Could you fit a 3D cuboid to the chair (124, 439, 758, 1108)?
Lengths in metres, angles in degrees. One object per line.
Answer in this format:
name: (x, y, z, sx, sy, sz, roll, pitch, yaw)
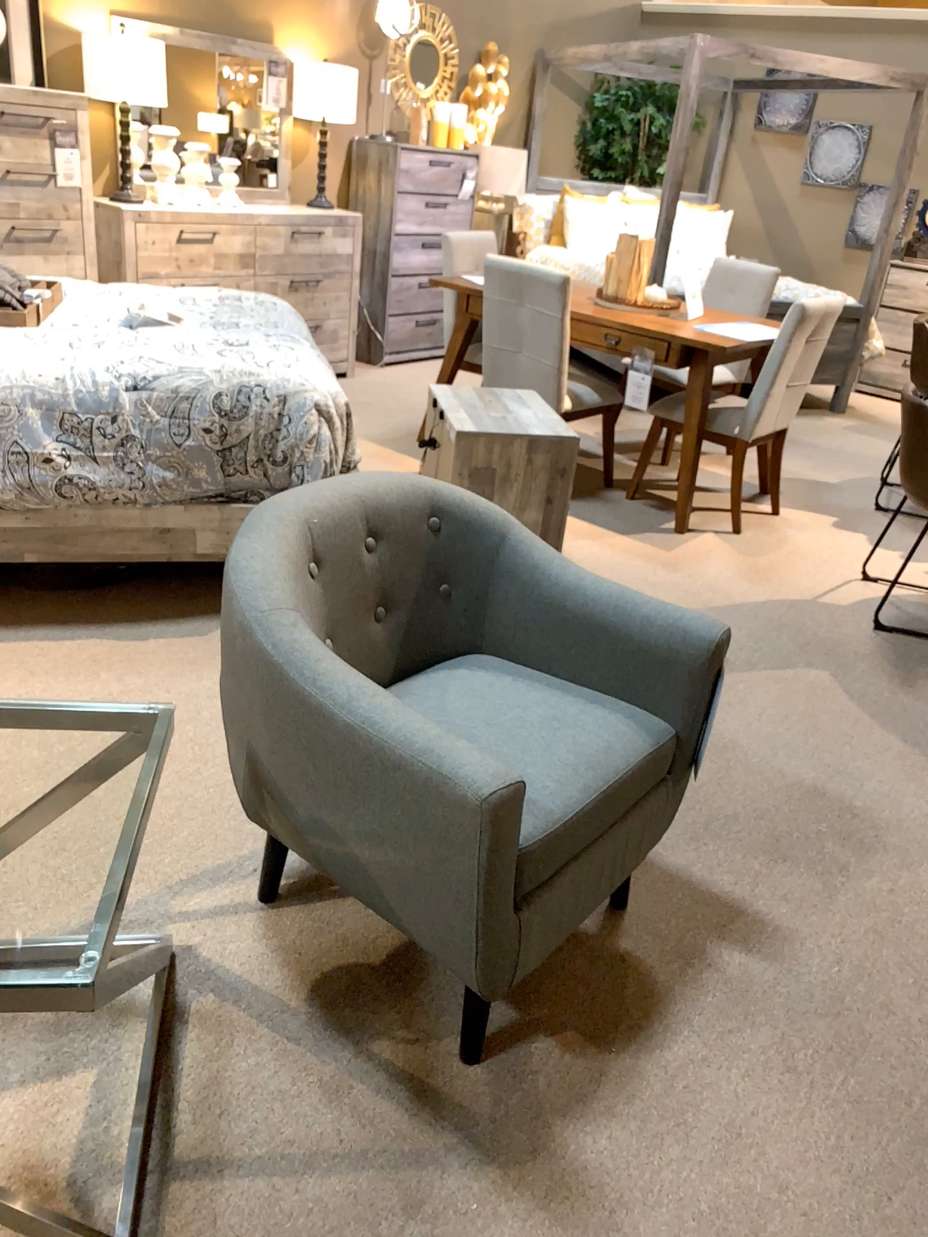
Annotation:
chair: (-0.054, 0.172, 1.722, 0.743, 0.702, 0.749, 26, 32, 33)
